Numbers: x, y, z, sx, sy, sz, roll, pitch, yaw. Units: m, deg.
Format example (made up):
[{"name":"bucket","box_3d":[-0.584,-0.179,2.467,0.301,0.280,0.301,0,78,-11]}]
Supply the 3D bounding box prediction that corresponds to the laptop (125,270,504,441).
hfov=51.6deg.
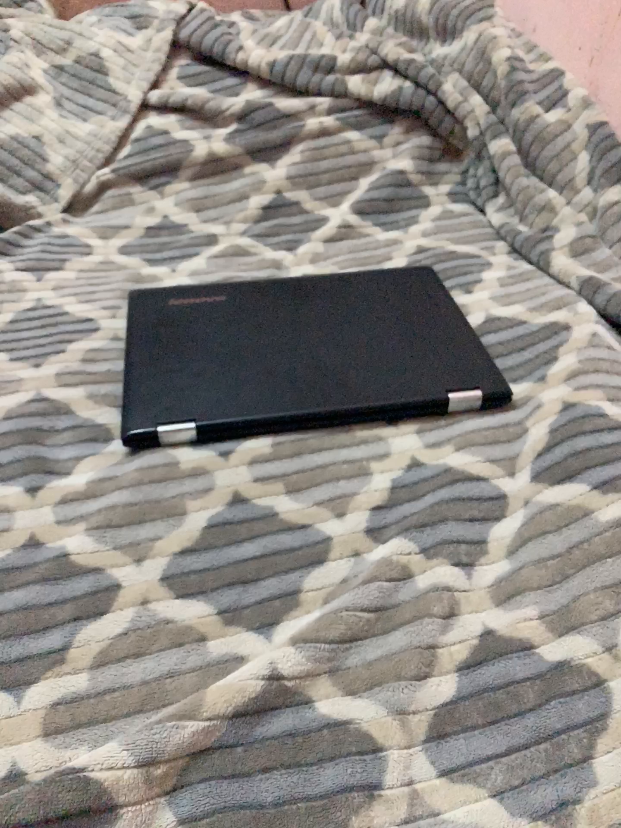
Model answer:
[{"name":"laptop","box_3d":[-0.008,-0.073,0.647,0.339,0.003,0.229,-6,43,-8]}]
